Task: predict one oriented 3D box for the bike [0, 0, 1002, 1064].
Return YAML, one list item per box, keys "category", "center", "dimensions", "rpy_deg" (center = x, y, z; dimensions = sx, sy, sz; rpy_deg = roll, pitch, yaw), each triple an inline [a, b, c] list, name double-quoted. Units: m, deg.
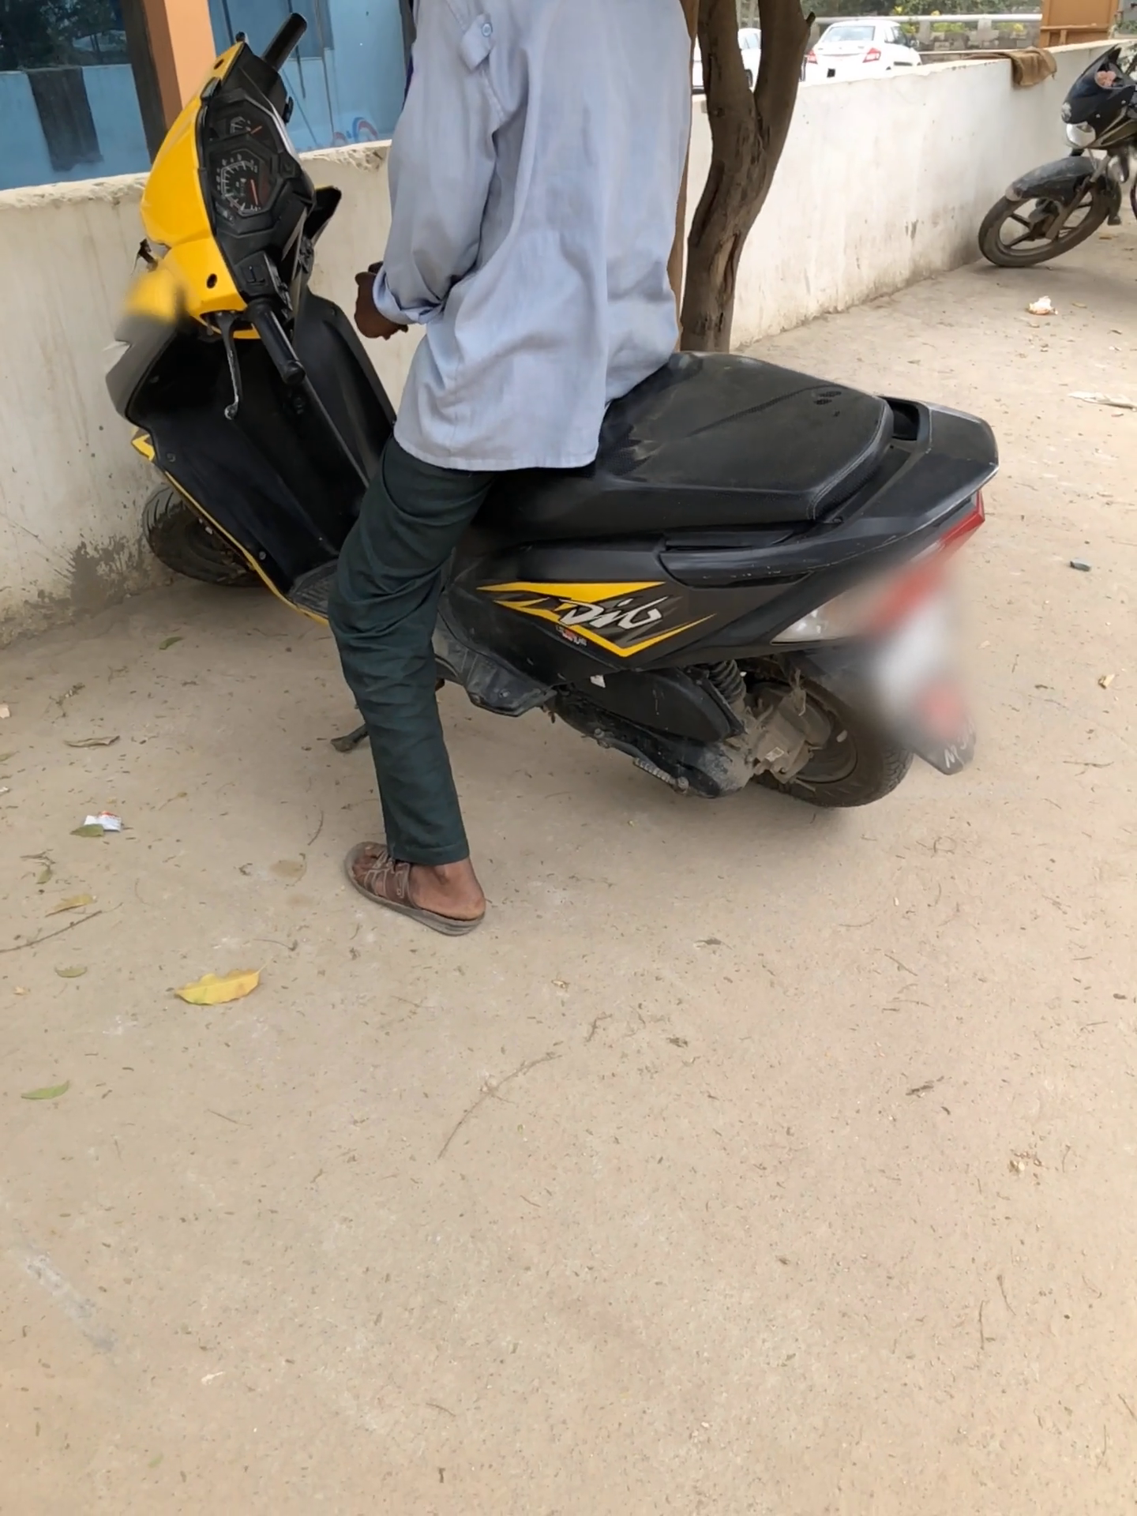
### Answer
- category: "bike"
  center: [-0.314, -0.473, 1.830]
  dimensions: [1.570, 1.145, 0.638]
  rpy_deg: [17, 36, 23]
